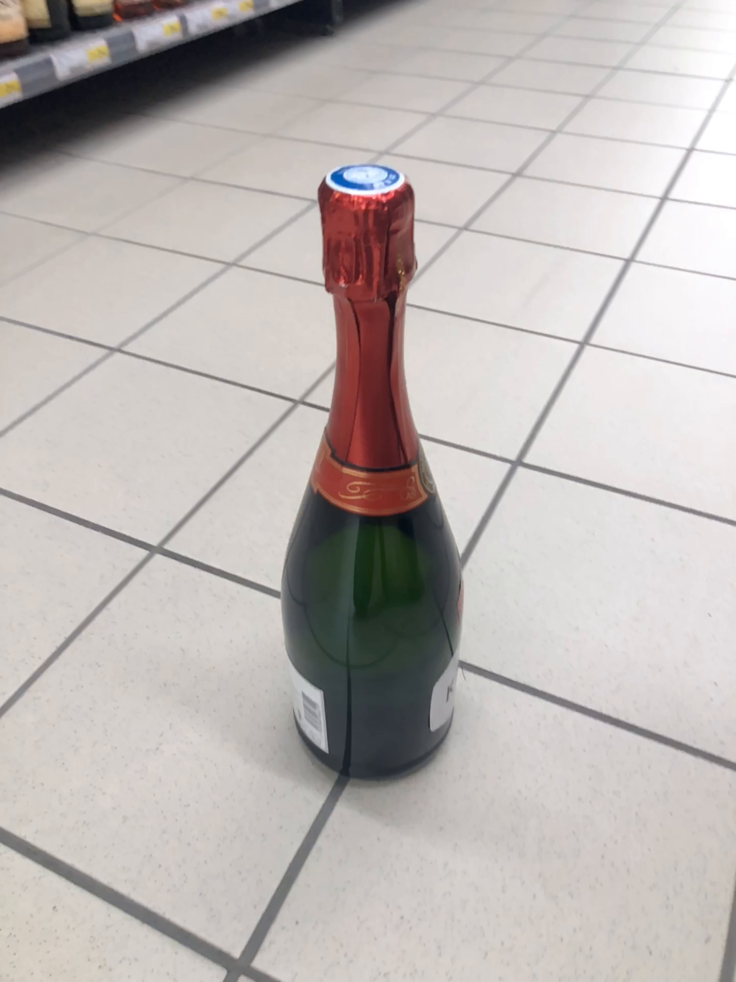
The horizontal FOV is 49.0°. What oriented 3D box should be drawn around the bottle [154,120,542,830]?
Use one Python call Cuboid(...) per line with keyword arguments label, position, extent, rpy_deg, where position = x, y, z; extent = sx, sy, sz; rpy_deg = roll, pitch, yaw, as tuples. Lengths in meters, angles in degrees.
Cuboid(label="bottle", position=(-0.005, 0.017, 0.341), extent=(0.100, 0.298, 0.101), rpy_deg=(0, 39, 0))
